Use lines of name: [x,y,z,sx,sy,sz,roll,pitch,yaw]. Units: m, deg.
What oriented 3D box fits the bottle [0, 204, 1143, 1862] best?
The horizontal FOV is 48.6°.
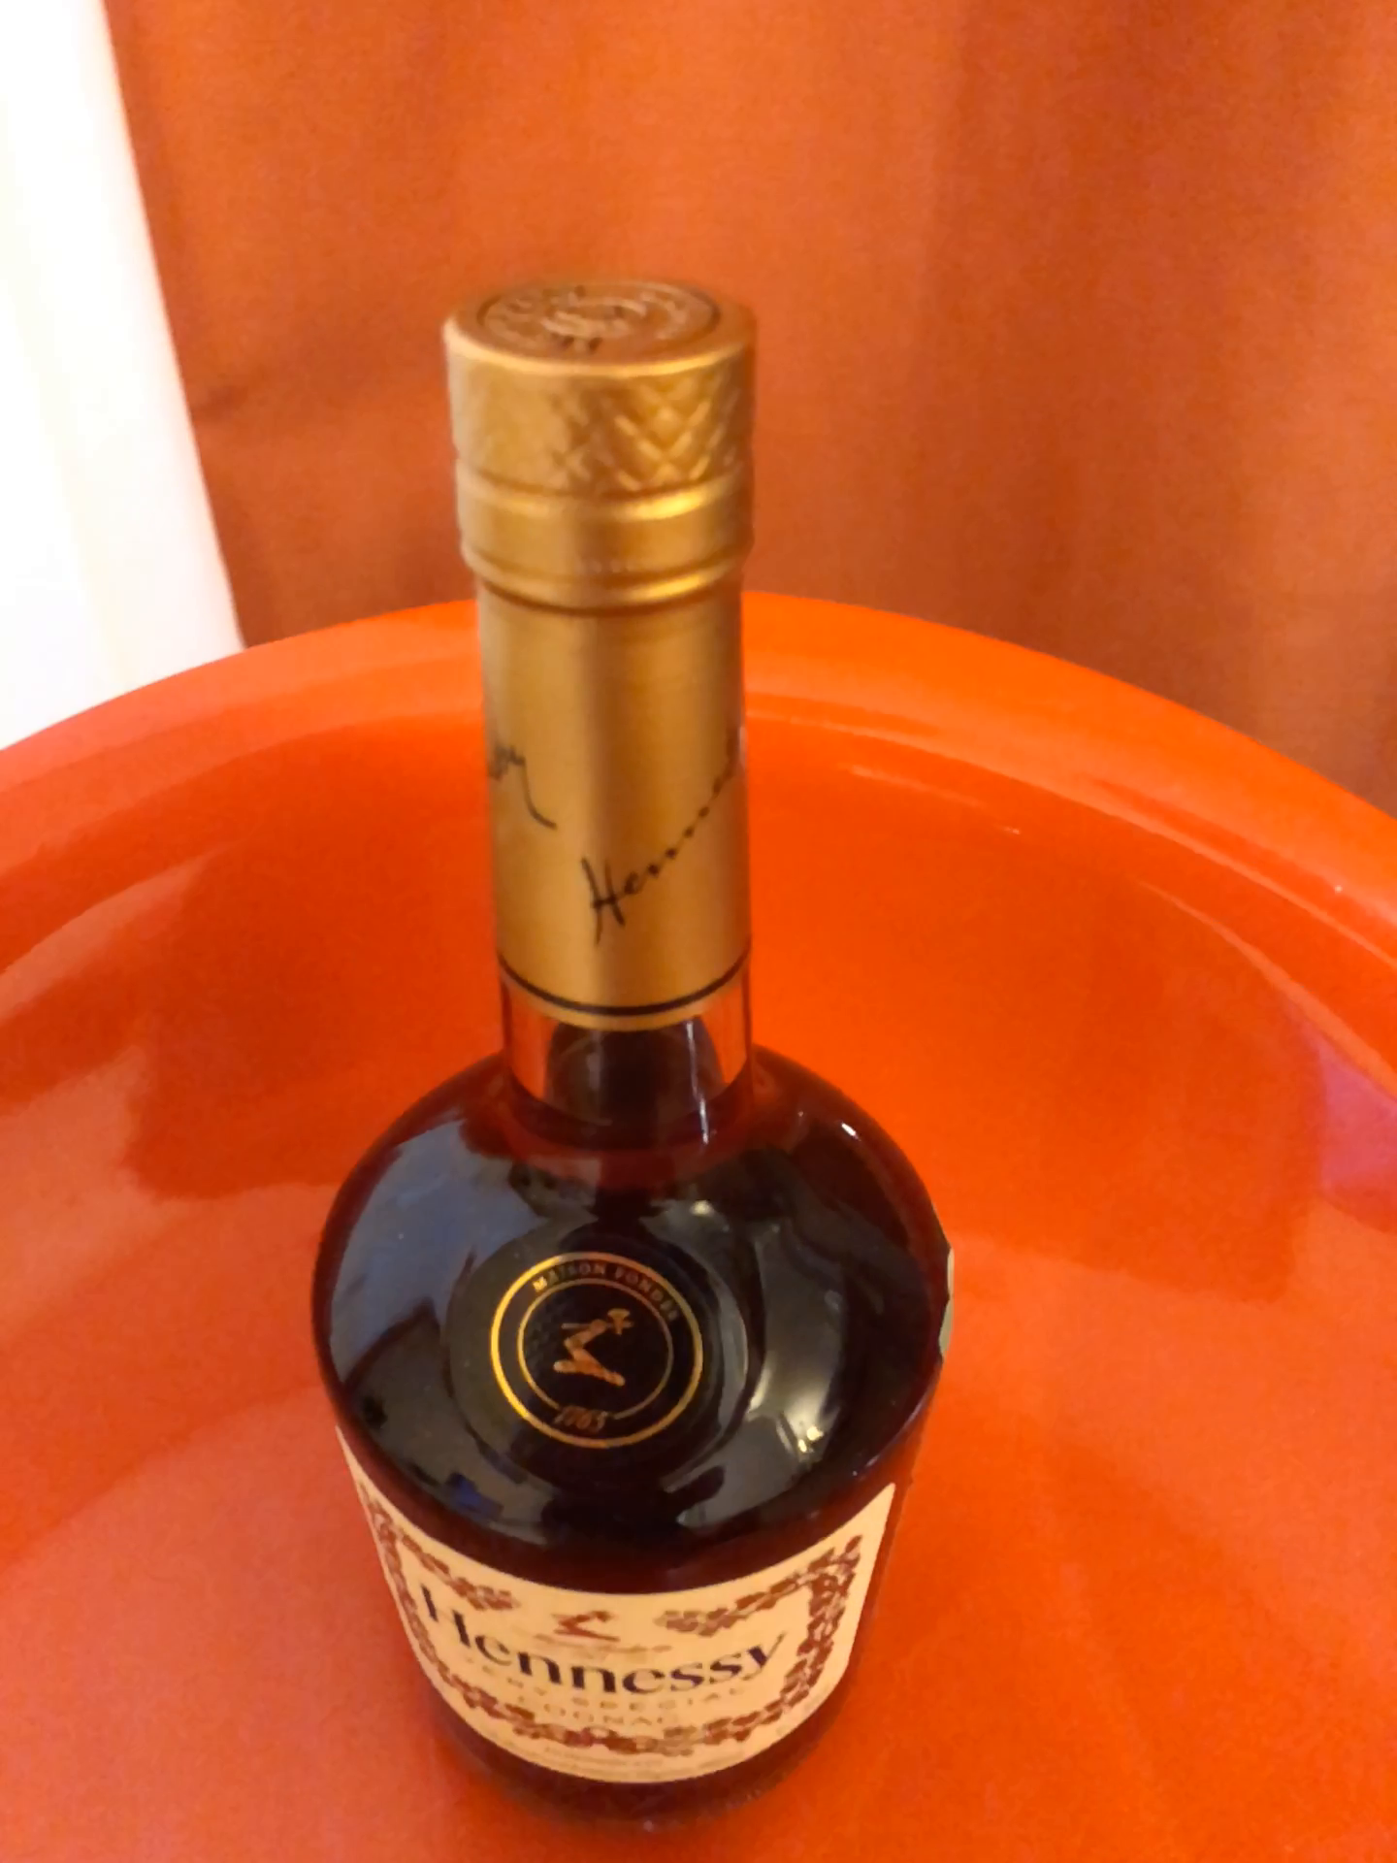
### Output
bottle: [-0.006,0.036,0.203,0.079,0.219,0.080,1,40,-1]
